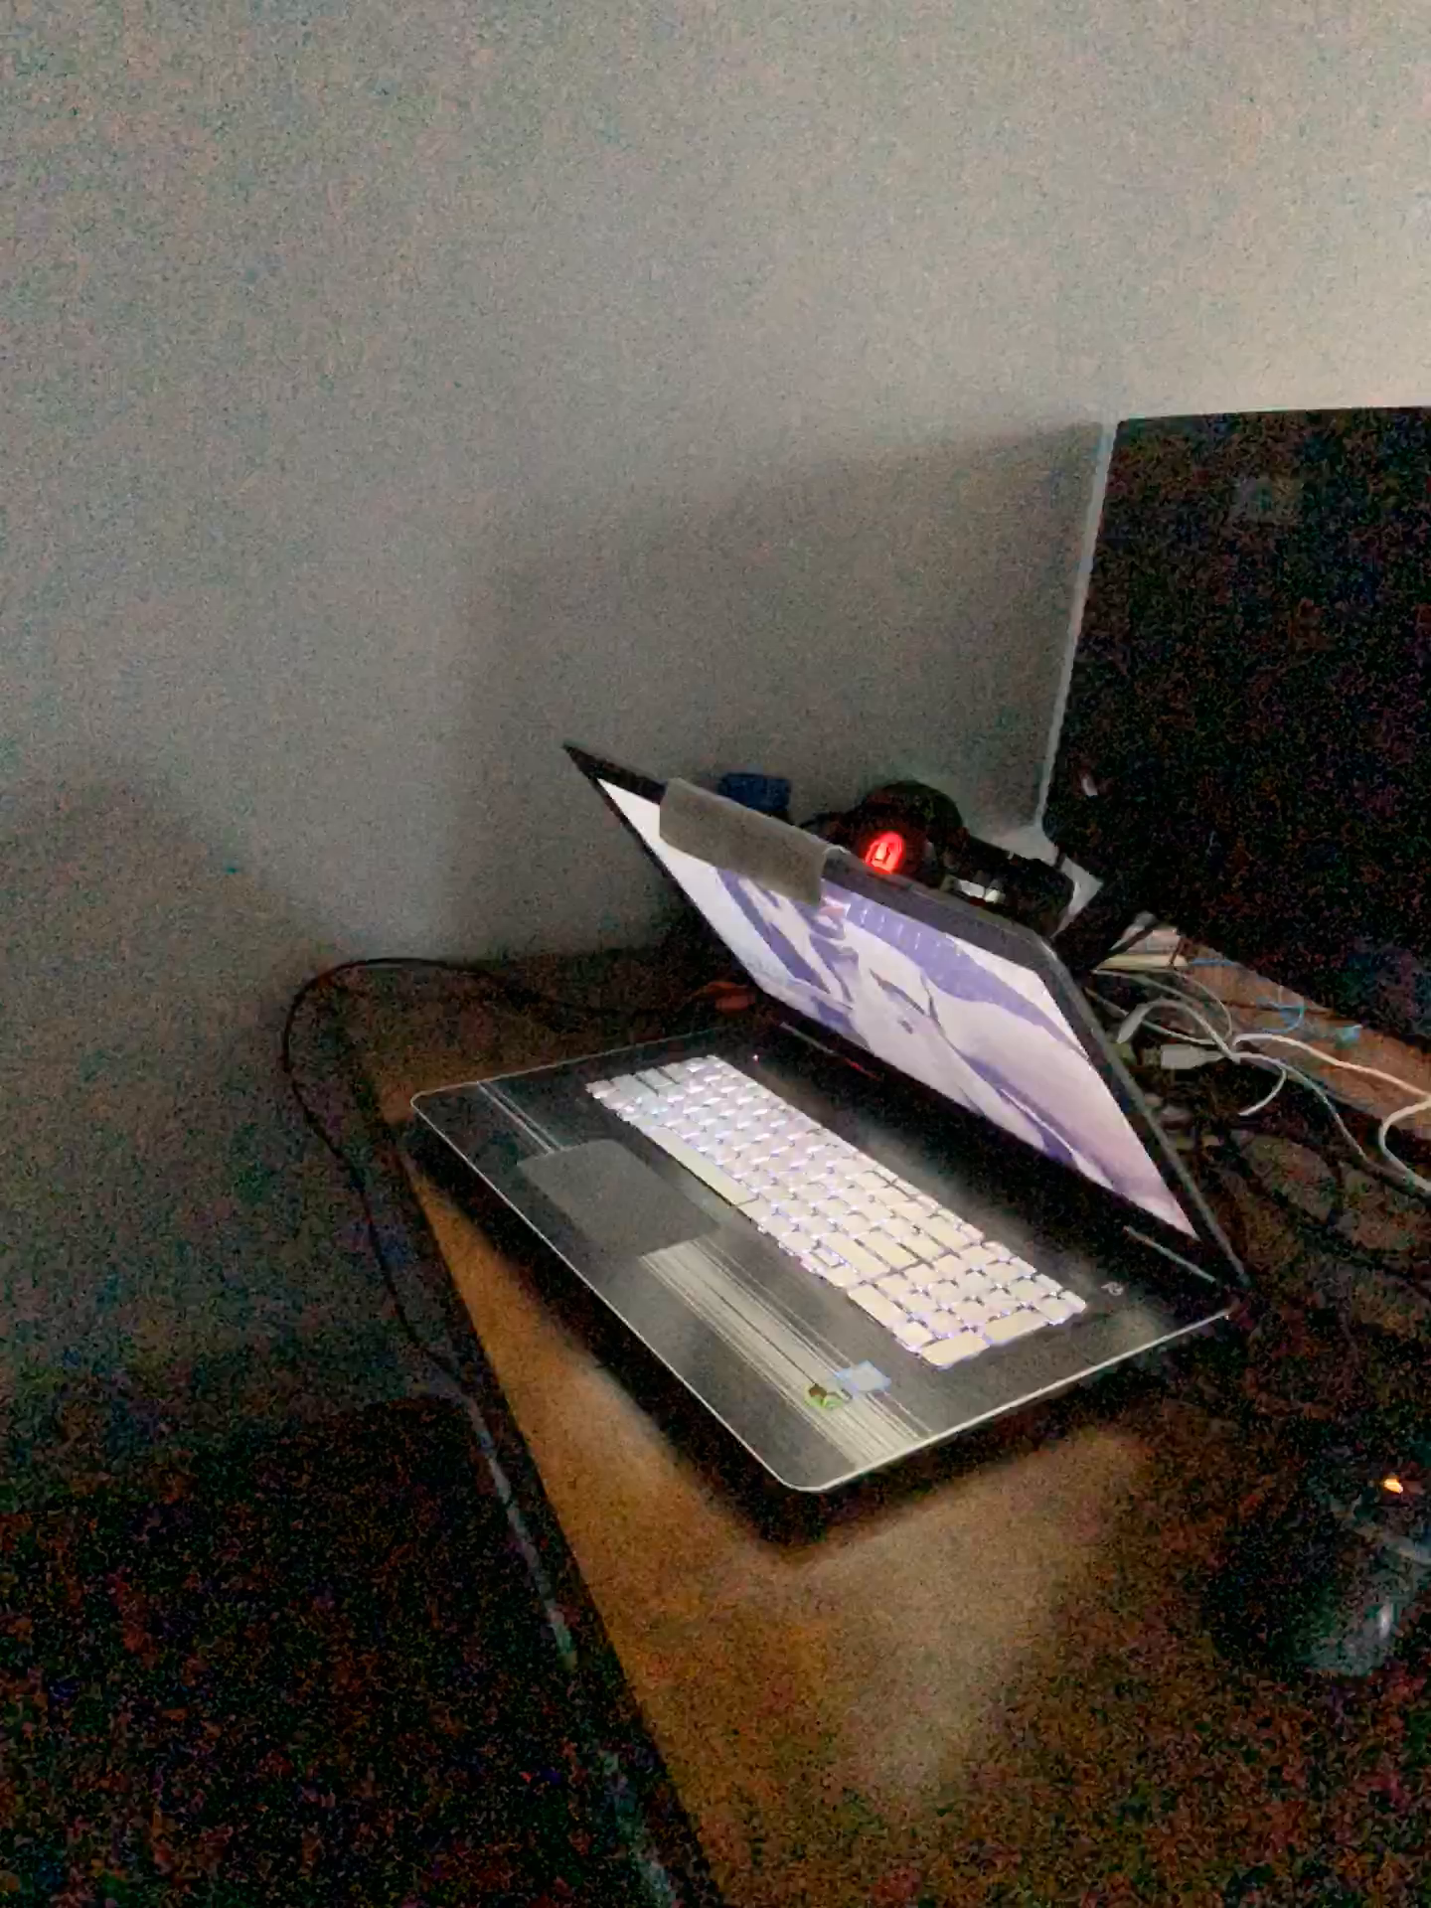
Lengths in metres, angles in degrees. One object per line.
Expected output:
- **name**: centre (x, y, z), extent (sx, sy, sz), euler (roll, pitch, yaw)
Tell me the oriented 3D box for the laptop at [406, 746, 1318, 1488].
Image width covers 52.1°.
- **laptop**: centre (0.039, 0.035, 0.751), extent (0.257, 0.187, 0.394), euler (-10, 22, -32)
